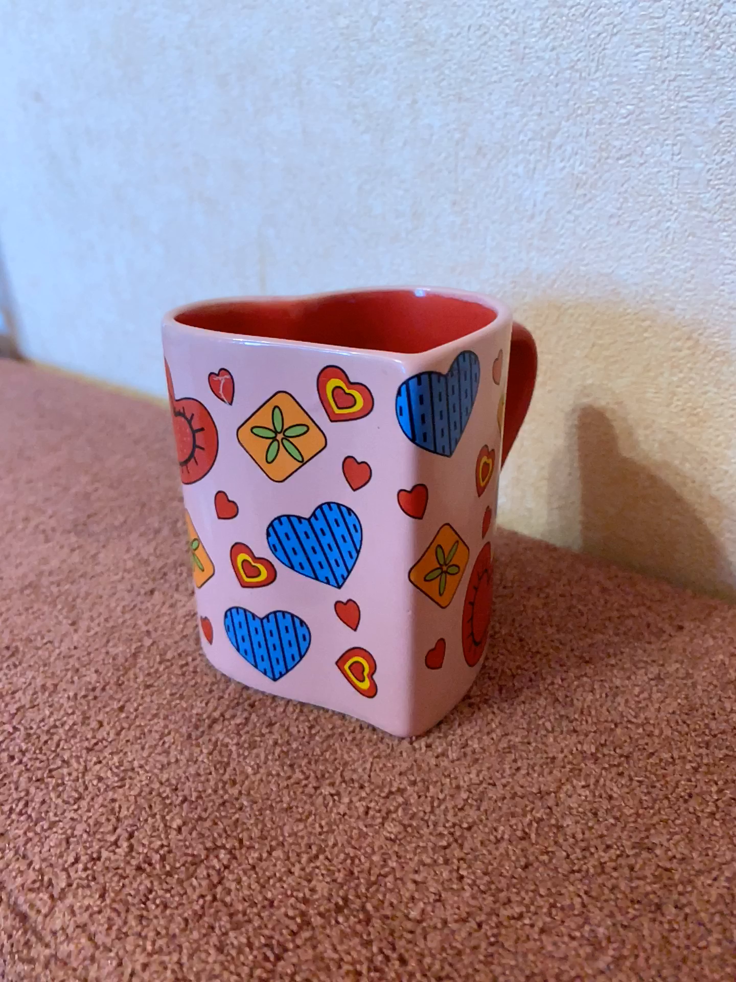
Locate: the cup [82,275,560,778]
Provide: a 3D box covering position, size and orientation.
[{"bbox_3d":[-0.005,-0.001,0.200,0.085,0.091,0.082,-1,23,0],"label":"cup"}]
